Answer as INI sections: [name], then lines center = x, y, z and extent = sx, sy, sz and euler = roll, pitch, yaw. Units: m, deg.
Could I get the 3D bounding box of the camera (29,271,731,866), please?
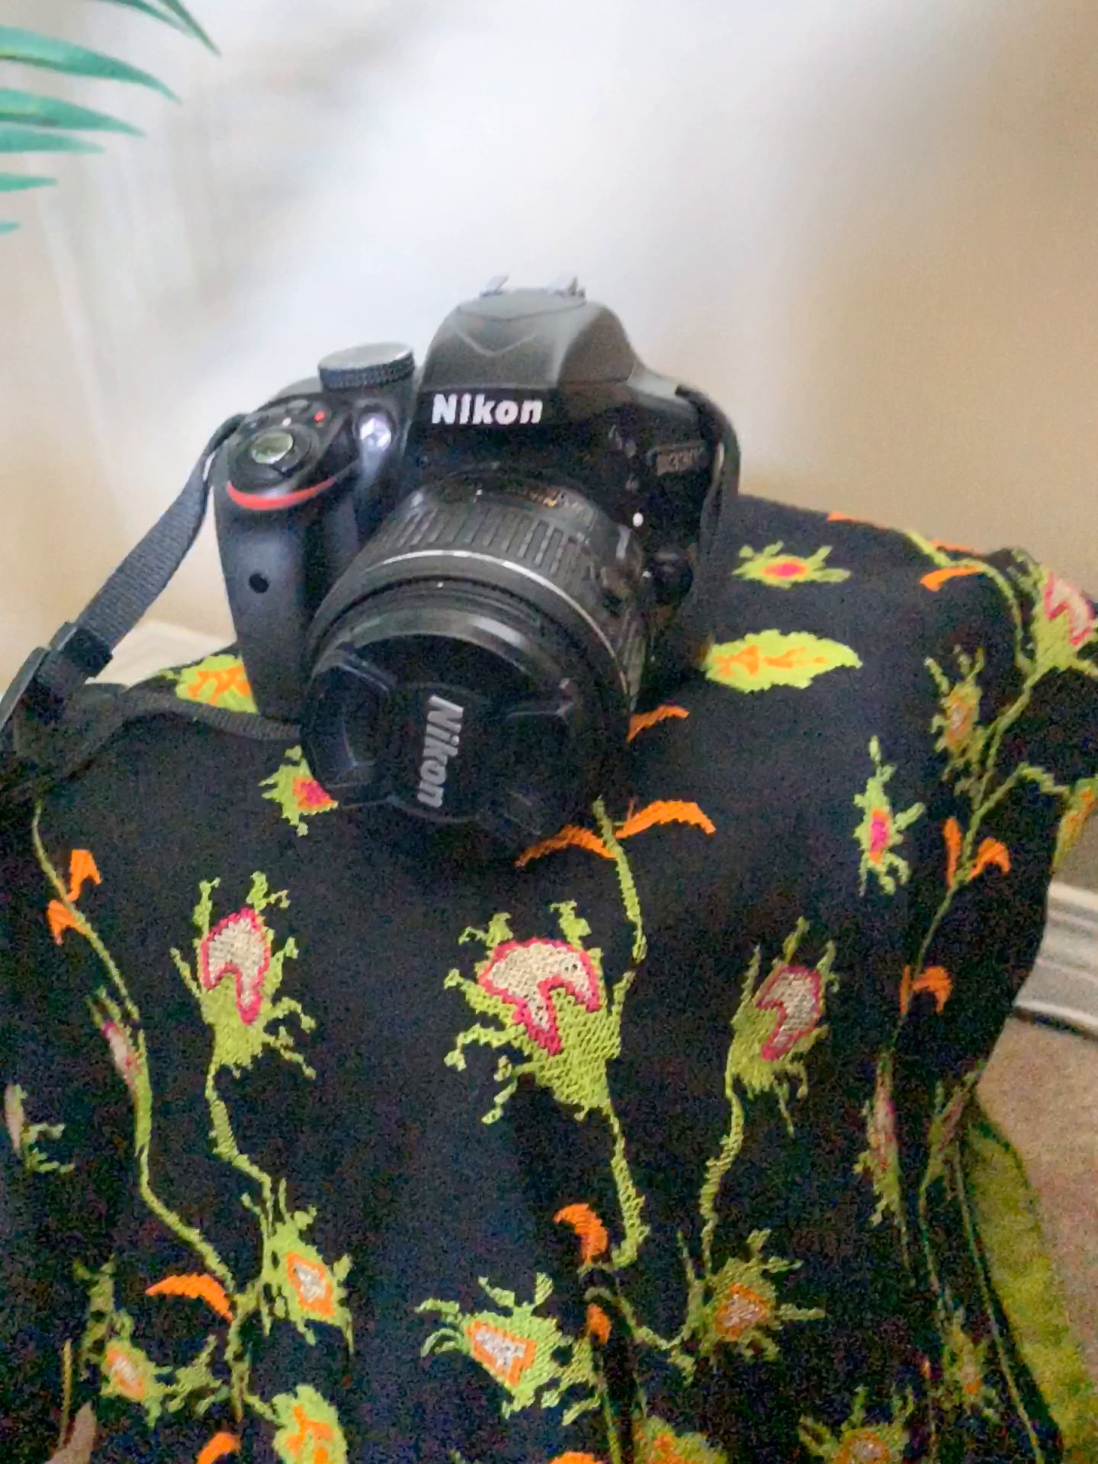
[camera]
center = -0.022, -0.039, 0.252
extent = 0.120, 0.099, 0.091
euler = 0, 30, 8
